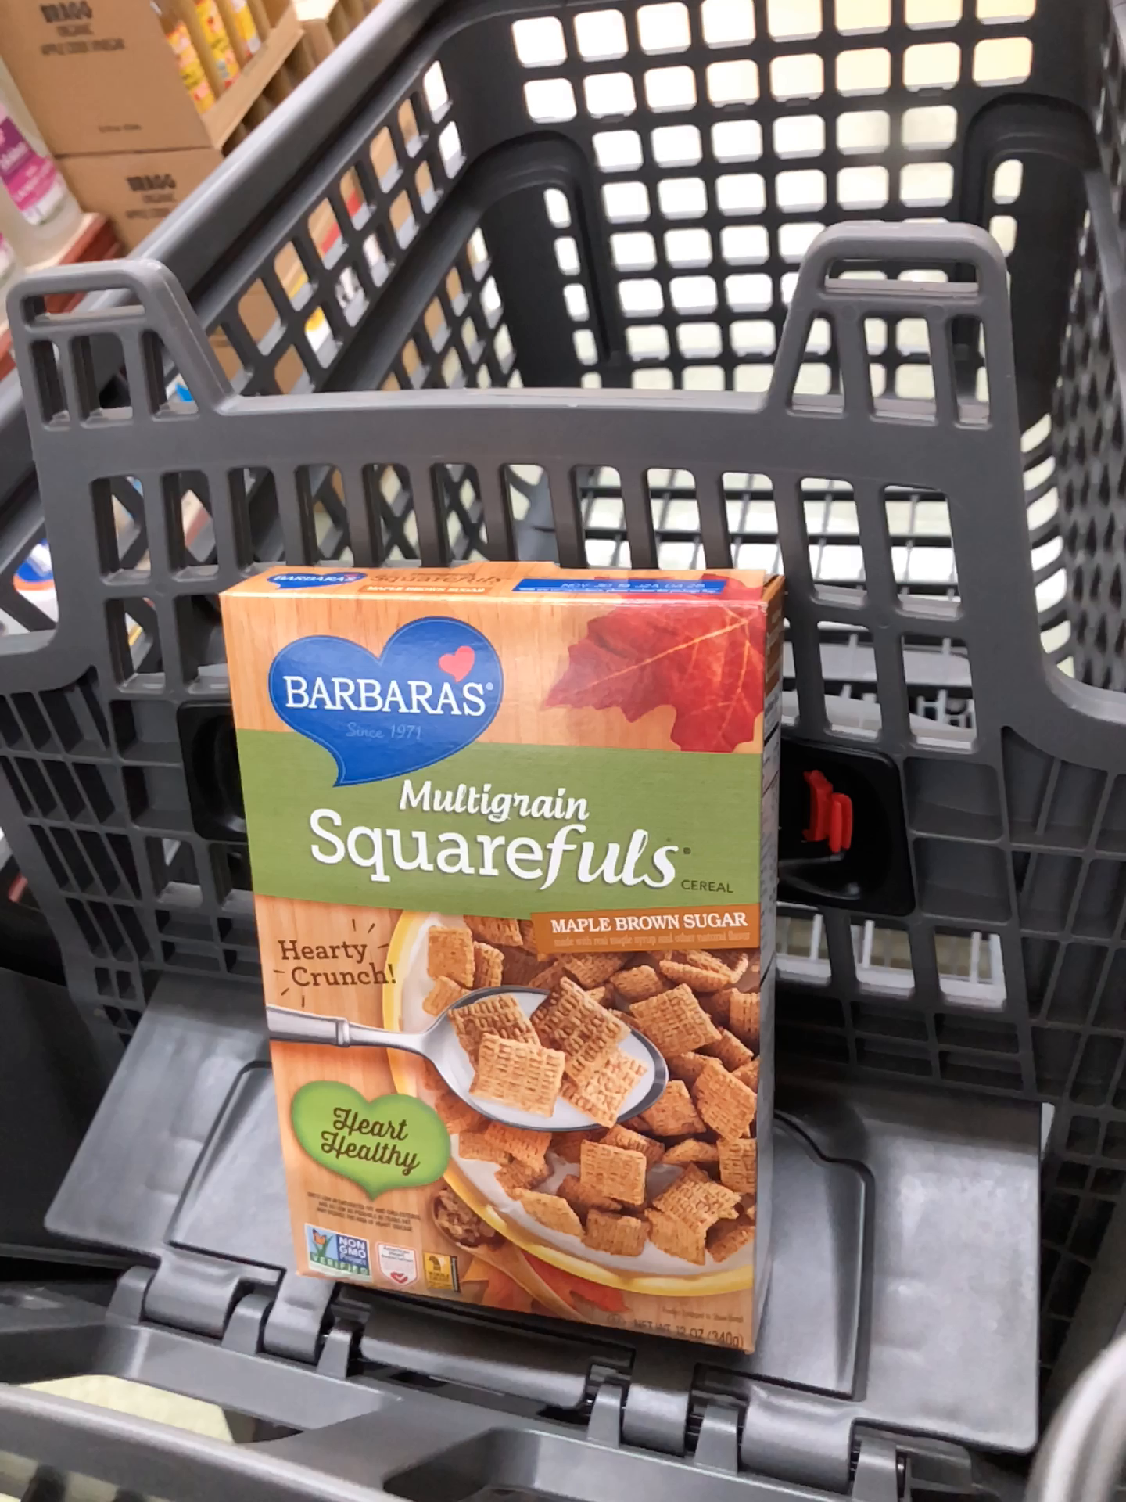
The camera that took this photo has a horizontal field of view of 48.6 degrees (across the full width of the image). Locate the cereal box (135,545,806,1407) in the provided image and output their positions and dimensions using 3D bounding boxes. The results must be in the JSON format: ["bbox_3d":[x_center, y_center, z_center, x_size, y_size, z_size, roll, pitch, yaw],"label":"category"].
[{"bbox_3d":[-0.023,0.068,0.408,0.190,0.260,0.060,3,18,16],"label":"cereal box"}]
